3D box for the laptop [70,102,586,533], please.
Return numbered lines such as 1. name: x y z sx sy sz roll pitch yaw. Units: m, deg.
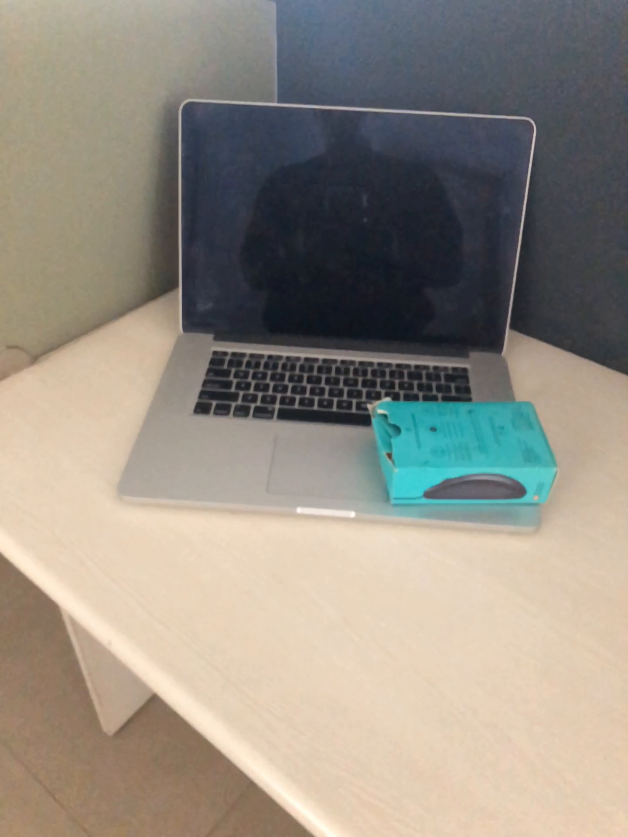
1. laptop: 0.017 -0.114 0.630 0.328 0.200 0.340 4 42 4
